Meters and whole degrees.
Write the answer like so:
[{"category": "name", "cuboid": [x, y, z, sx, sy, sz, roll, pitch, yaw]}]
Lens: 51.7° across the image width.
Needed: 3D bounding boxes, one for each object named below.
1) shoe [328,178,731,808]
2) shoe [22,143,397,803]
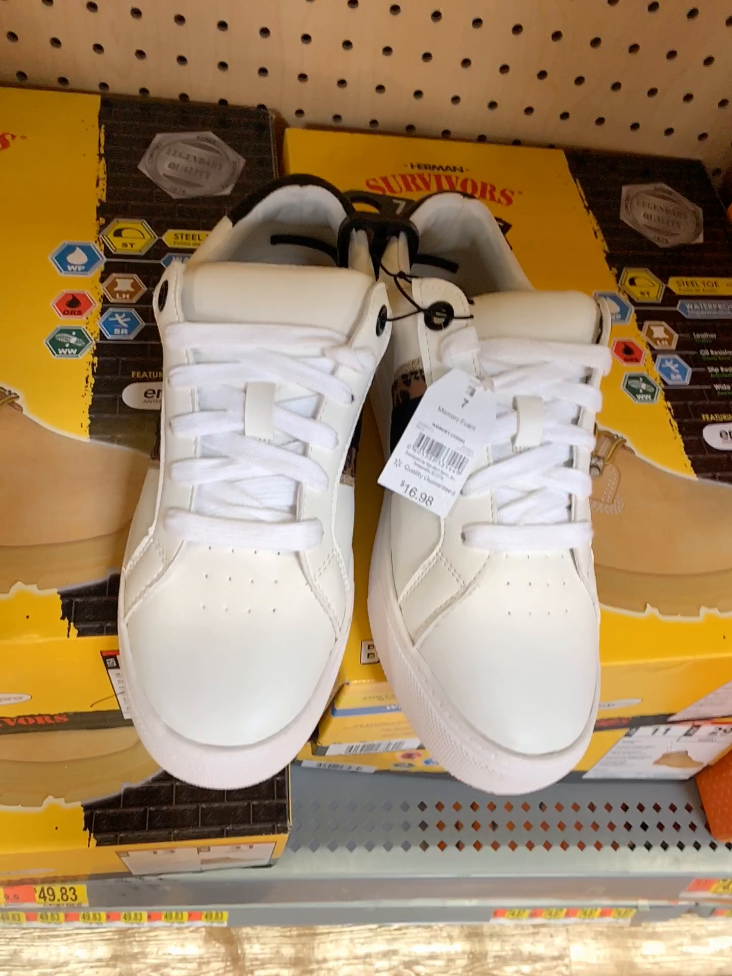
[{"category": "shoe", "cuboid": [0.052, -0.009, 0.307, 0.102, 0.071, 0.241, 1, 61, -15]}, {"category": "shoe", "cuboid": [-0.044, -0.016, 0.294, 0.100, 0.072, 0.246, 6, 61, -7]}]
